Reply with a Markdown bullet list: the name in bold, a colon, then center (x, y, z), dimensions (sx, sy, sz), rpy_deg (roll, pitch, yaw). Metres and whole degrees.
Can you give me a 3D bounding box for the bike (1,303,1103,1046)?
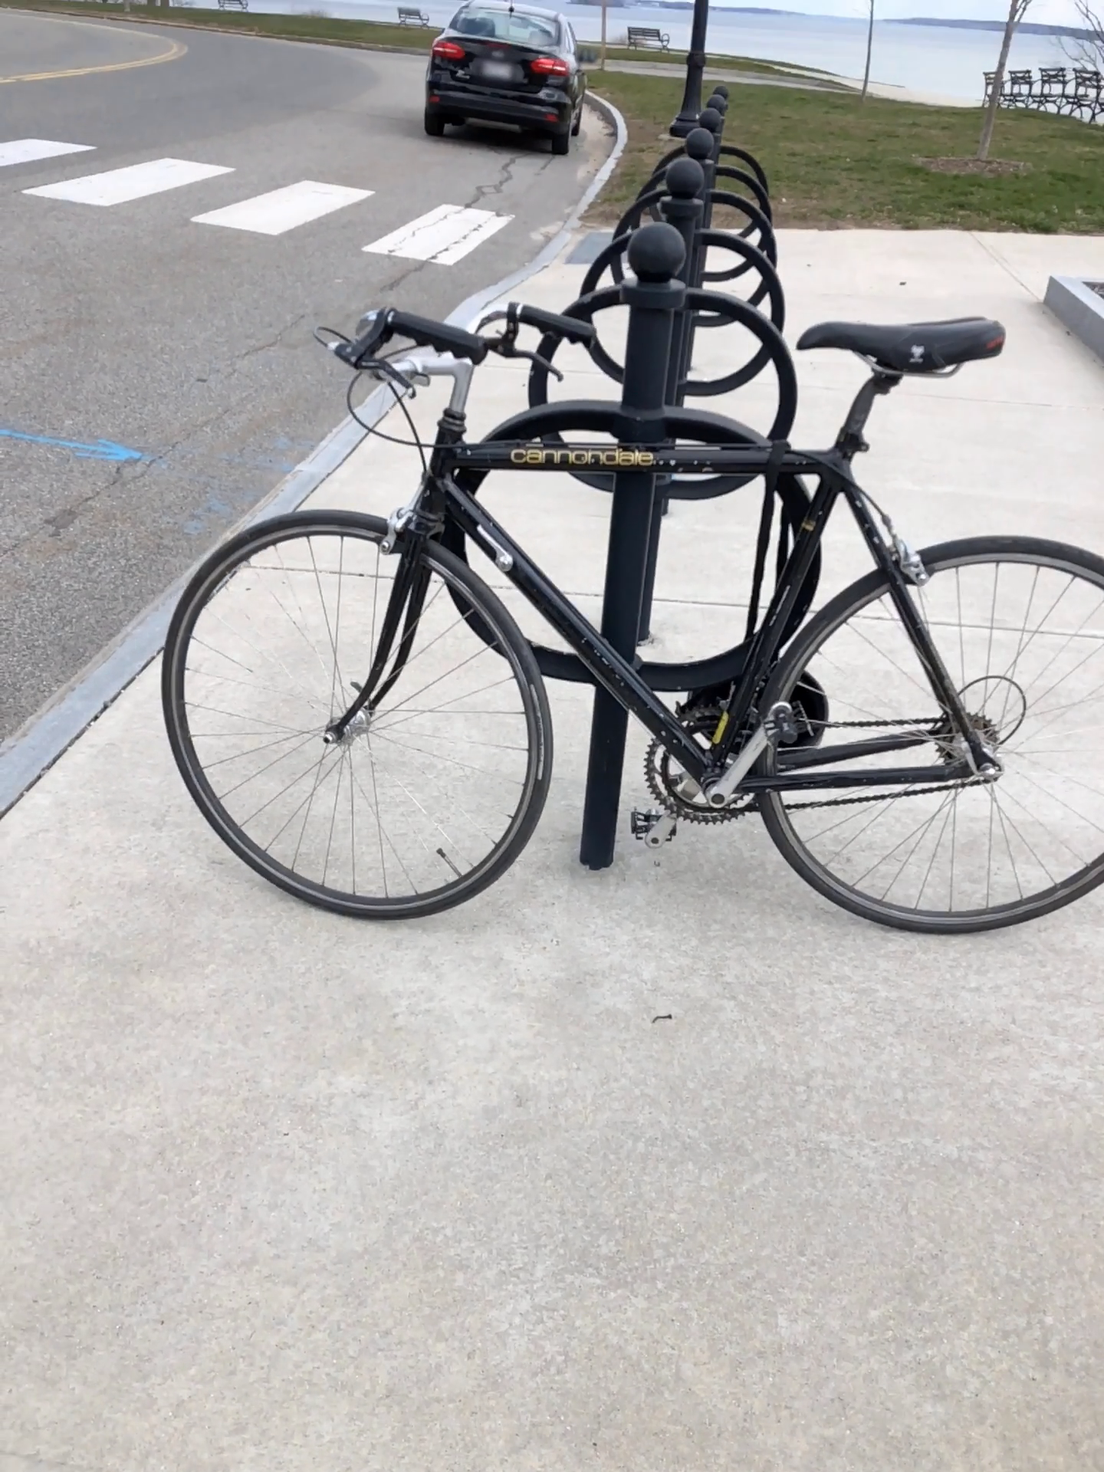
- **bike**: center (0.137, -0.095, 1.590), dimensions (1.382, 0.805, 0.488), rpy_deg (3, 31, 4)
